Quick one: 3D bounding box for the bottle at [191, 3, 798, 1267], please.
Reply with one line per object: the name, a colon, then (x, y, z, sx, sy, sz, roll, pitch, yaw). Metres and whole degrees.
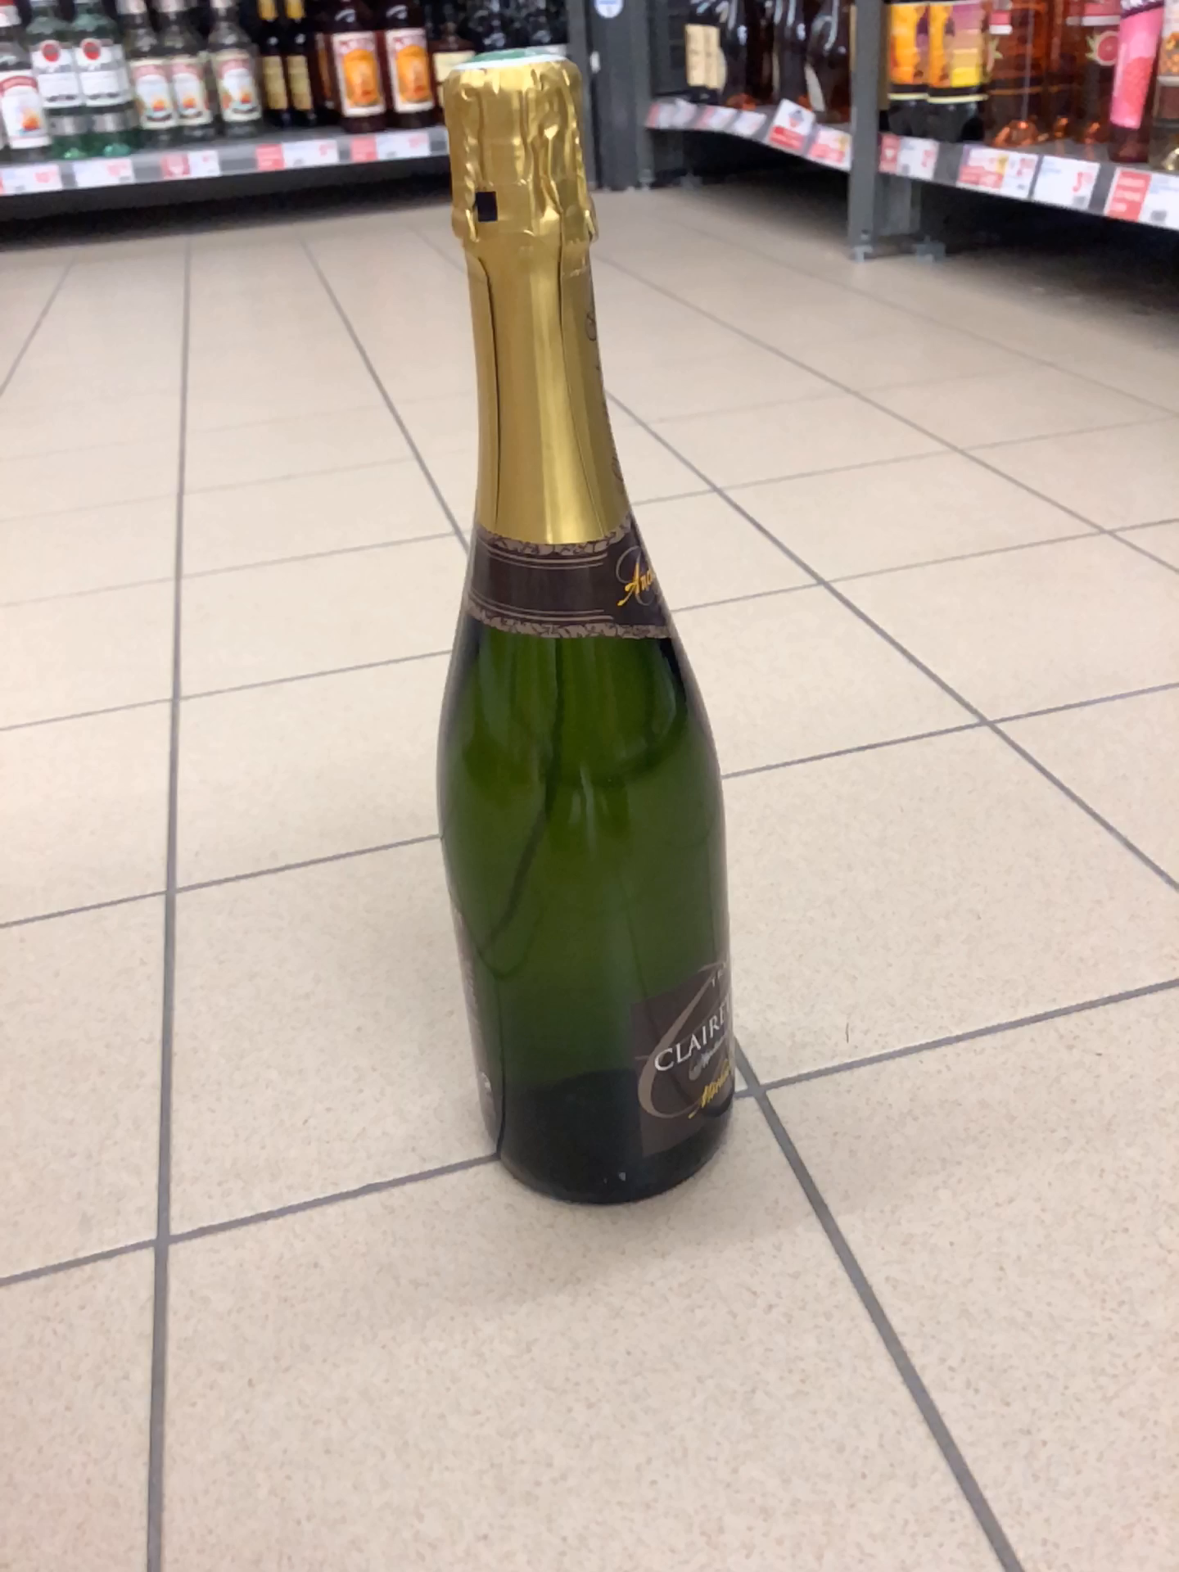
bottle: (-0.003, -0.026, 0.359, 0.100, 0.318, 0.101, -4, 30, 2)
